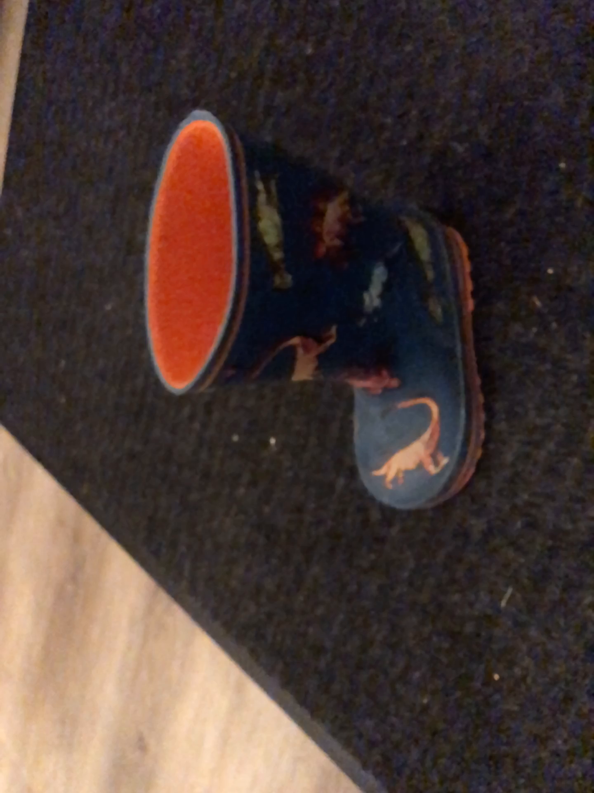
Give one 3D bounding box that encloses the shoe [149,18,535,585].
[{"bbox_3d":[0.030,-0.035,0.320,0.080,0.179,0.190,7,97,42],"label":"shoe"}]
